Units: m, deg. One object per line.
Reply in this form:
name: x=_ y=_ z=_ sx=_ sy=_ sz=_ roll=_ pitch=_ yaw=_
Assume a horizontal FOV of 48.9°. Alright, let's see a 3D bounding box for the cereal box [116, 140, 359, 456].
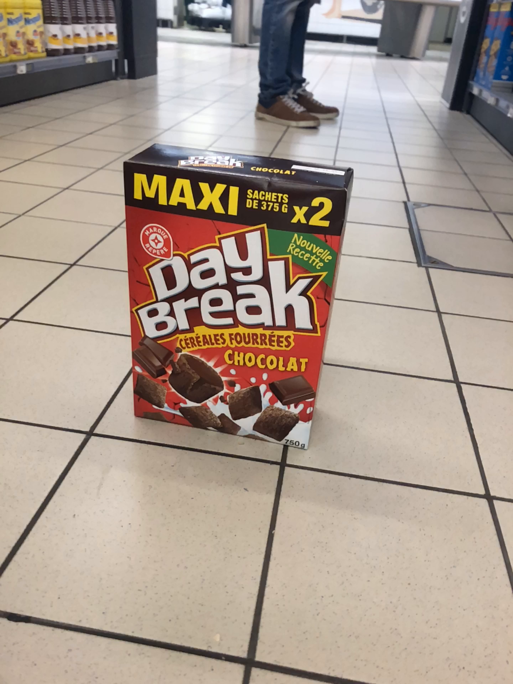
cereal box: x=-0.020 y=-0.041 z=0.571 sx=0.200 sy=0.278 sz=0.091 roll=10 pitch=30 yaw=10
